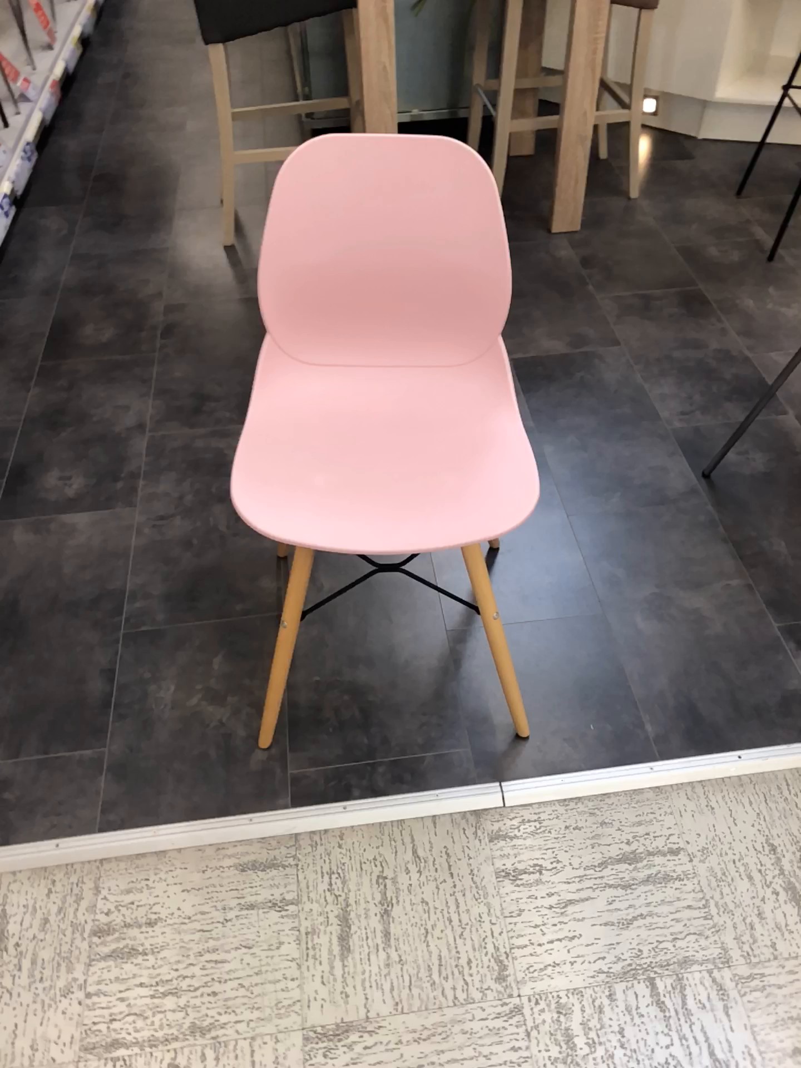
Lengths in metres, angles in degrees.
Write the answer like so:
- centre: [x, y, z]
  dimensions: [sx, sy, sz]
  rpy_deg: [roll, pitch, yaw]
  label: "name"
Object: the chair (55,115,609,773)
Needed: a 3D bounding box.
- centre: [-0.070, -0.104, 1.366]
  dimensions: [0.551, 0.847, 0.552]
  rpy_deg: [-2, 45, -1]
  label: "chair"
